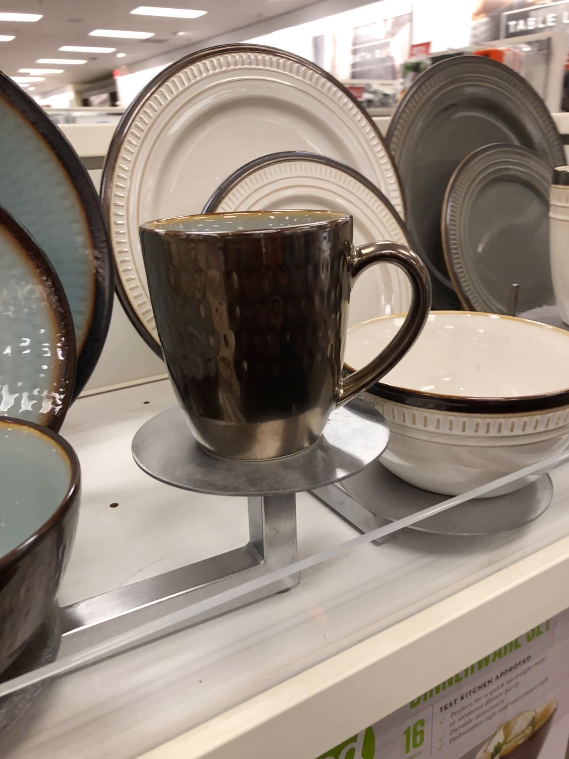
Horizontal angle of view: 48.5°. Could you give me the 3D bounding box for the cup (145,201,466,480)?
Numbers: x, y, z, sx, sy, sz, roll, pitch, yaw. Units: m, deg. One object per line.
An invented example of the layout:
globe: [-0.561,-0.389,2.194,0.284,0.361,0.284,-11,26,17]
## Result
cup: [0.007,-0.023,0.285,0.117,0.100,0.084,-3,21,-3]
